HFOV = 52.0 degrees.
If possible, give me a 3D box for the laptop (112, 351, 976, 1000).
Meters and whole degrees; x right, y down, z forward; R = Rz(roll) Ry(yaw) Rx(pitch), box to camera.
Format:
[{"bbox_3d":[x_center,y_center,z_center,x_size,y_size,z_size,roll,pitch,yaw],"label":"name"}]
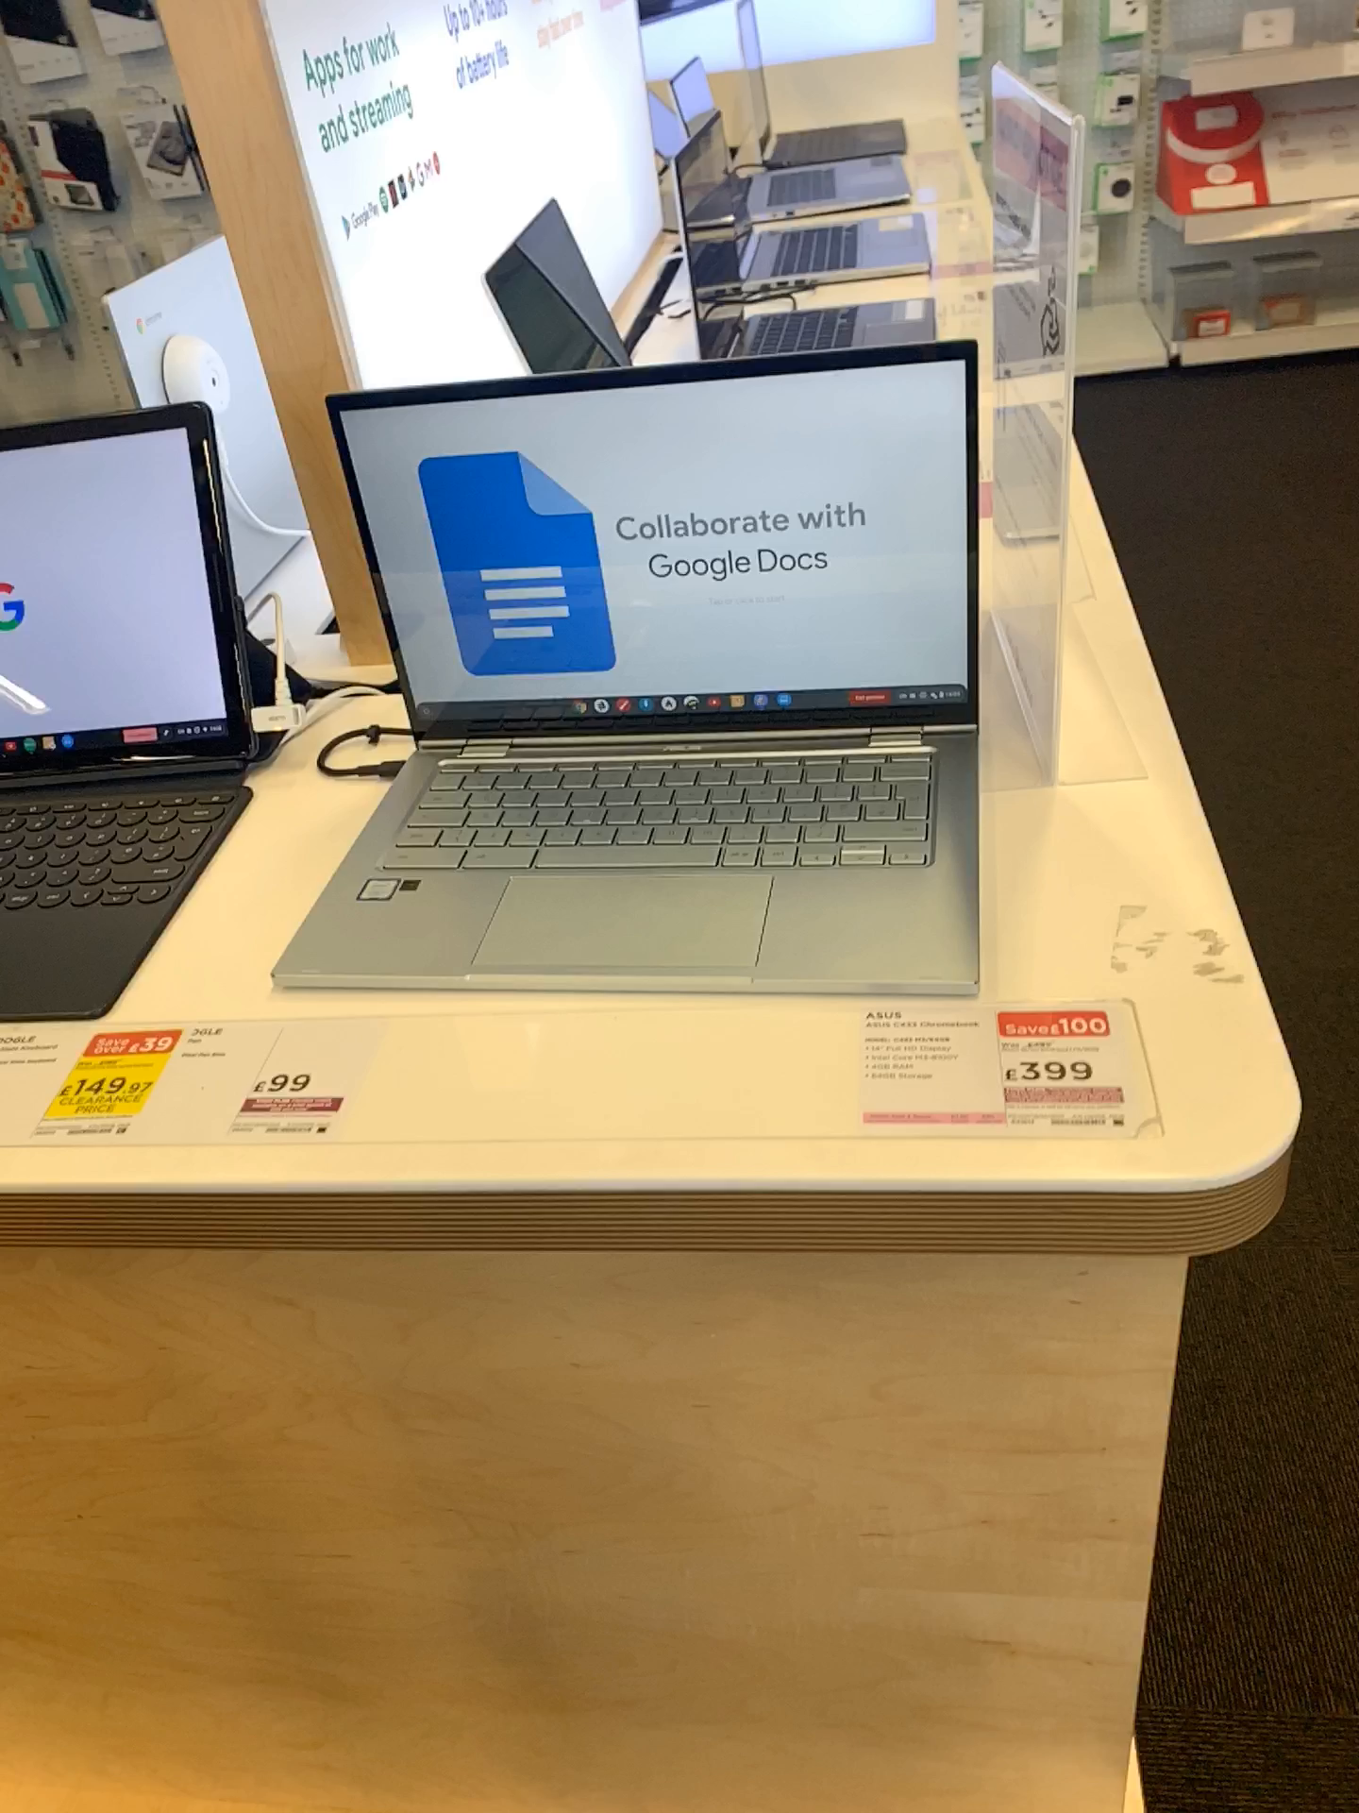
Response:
[{"bbox_3d":[-0.031,-0.104,0.625,0.317,0.195,0.205,0,36,13],"label":"laptop"}]
